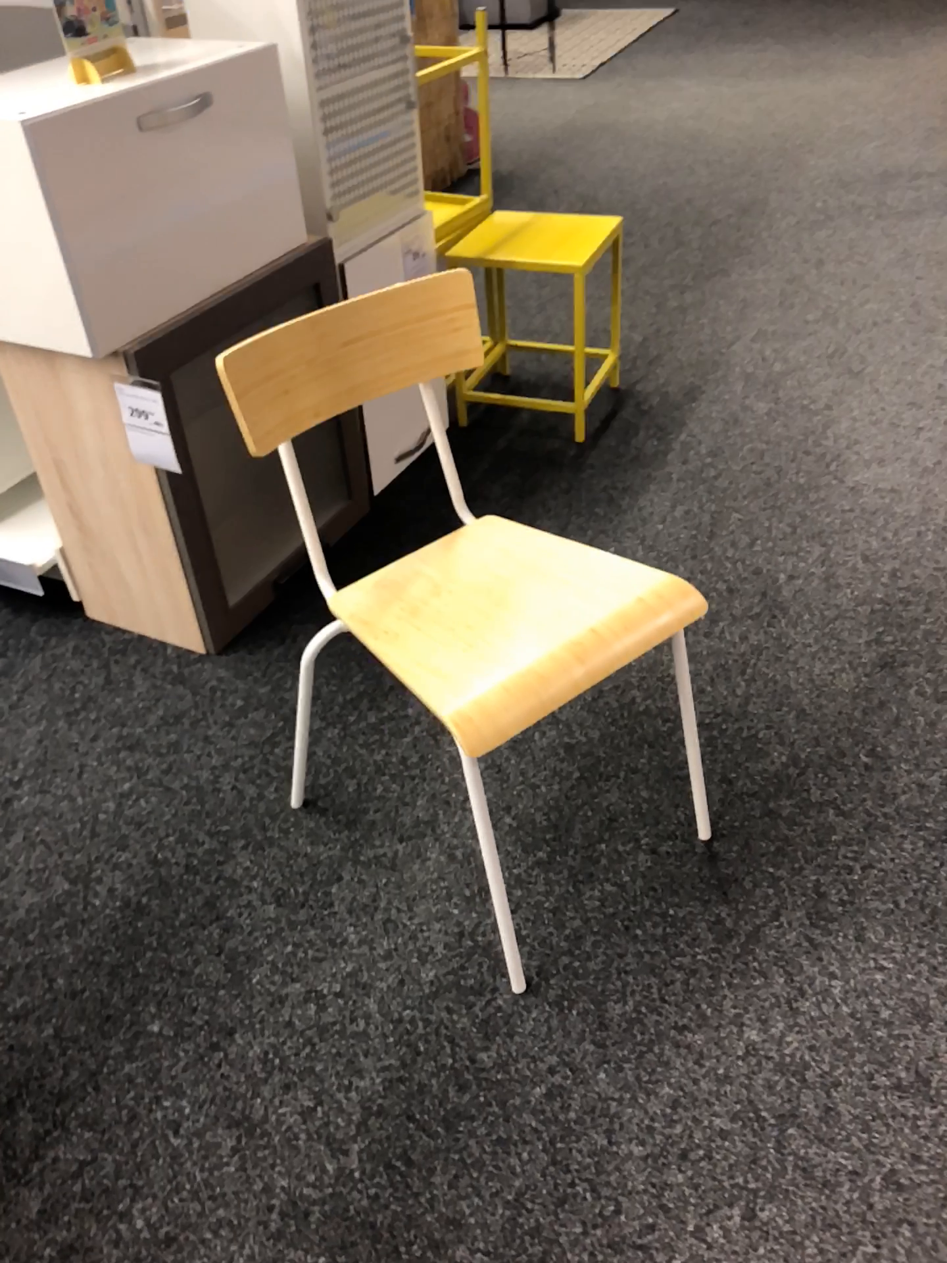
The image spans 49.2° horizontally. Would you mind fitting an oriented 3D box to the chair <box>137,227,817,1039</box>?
[{"bbox_3d":[0.020,-0.023,1.447,0.542,0.815,0.581,-31,45,-30],"label":"chair"}]
